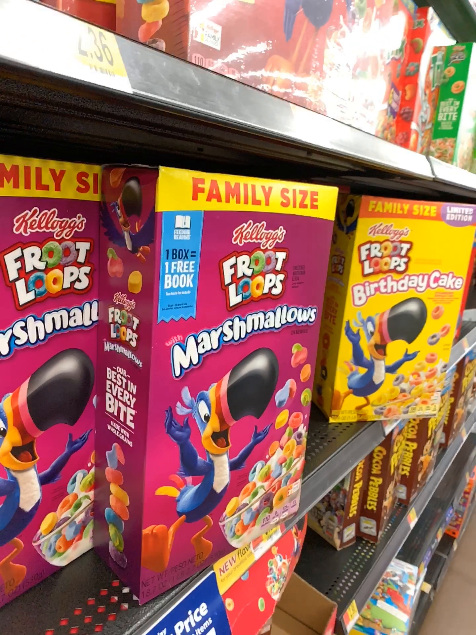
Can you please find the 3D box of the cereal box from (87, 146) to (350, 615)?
[{"bbox_3d":[-0.017,0.042,0.430,0.200,0.339,0.080,-8,18,-42],"label":"cereal box"}]
